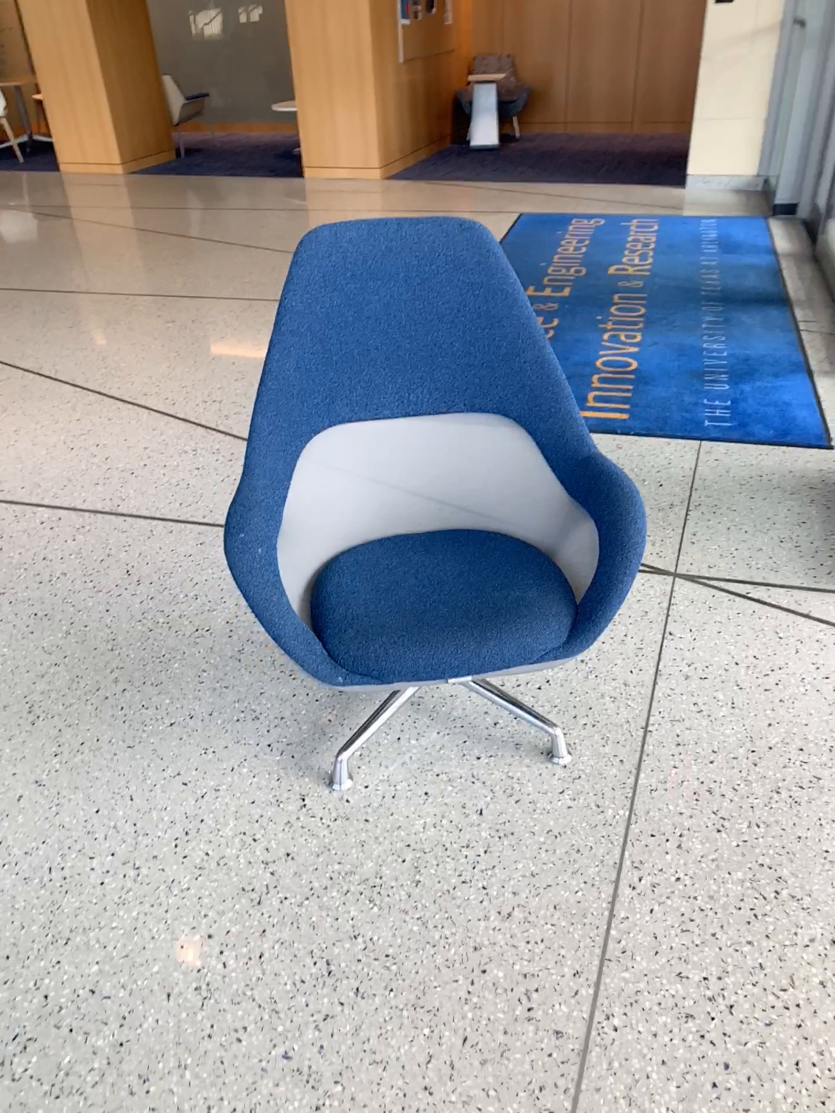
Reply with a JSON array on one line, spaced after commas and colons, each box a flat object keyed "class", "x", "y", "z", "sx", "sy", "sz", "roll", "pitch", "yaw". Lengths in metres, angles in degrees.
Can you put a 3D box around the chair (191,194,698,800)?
[{"class": "chair", "x": 0.022, "y": -0.161, "z": 1.787, "sx": 0.724, "sy": 0.933, "sz": 0.791, "roll": -6, "pitch": 33, "yaw": -4}]
